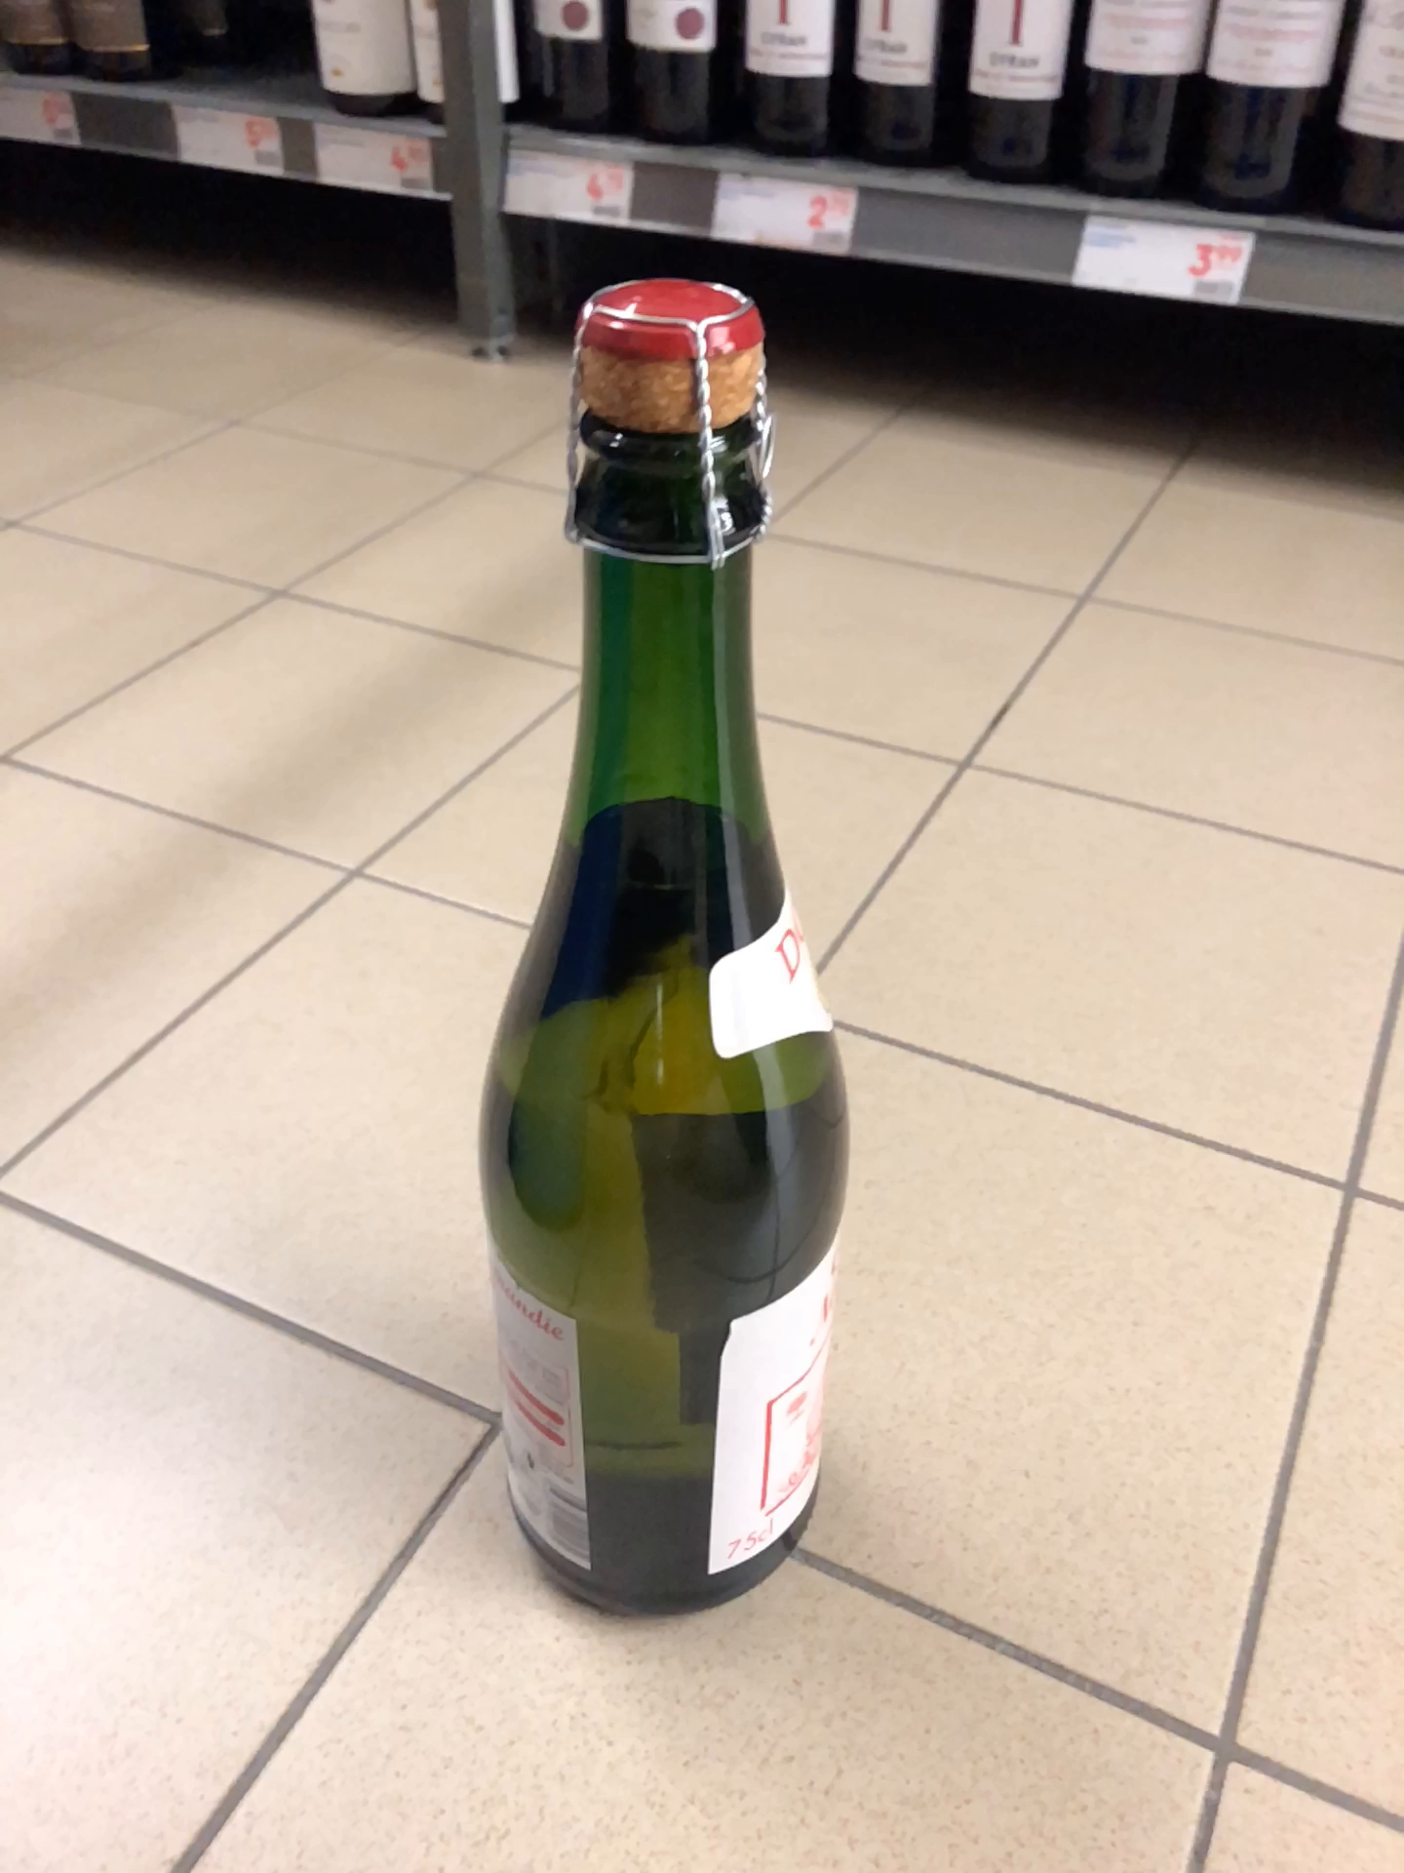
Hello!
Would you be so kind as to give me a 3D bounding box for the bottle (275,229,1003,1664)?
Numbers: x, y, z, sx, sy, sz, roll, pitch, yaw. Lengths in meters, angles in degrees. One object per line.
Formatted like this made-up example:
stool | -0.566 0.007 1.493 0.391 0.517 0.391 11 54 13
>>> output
bottle | -0.010 0.022 0.318 0.090 0.288 0.101 0 36 -2
